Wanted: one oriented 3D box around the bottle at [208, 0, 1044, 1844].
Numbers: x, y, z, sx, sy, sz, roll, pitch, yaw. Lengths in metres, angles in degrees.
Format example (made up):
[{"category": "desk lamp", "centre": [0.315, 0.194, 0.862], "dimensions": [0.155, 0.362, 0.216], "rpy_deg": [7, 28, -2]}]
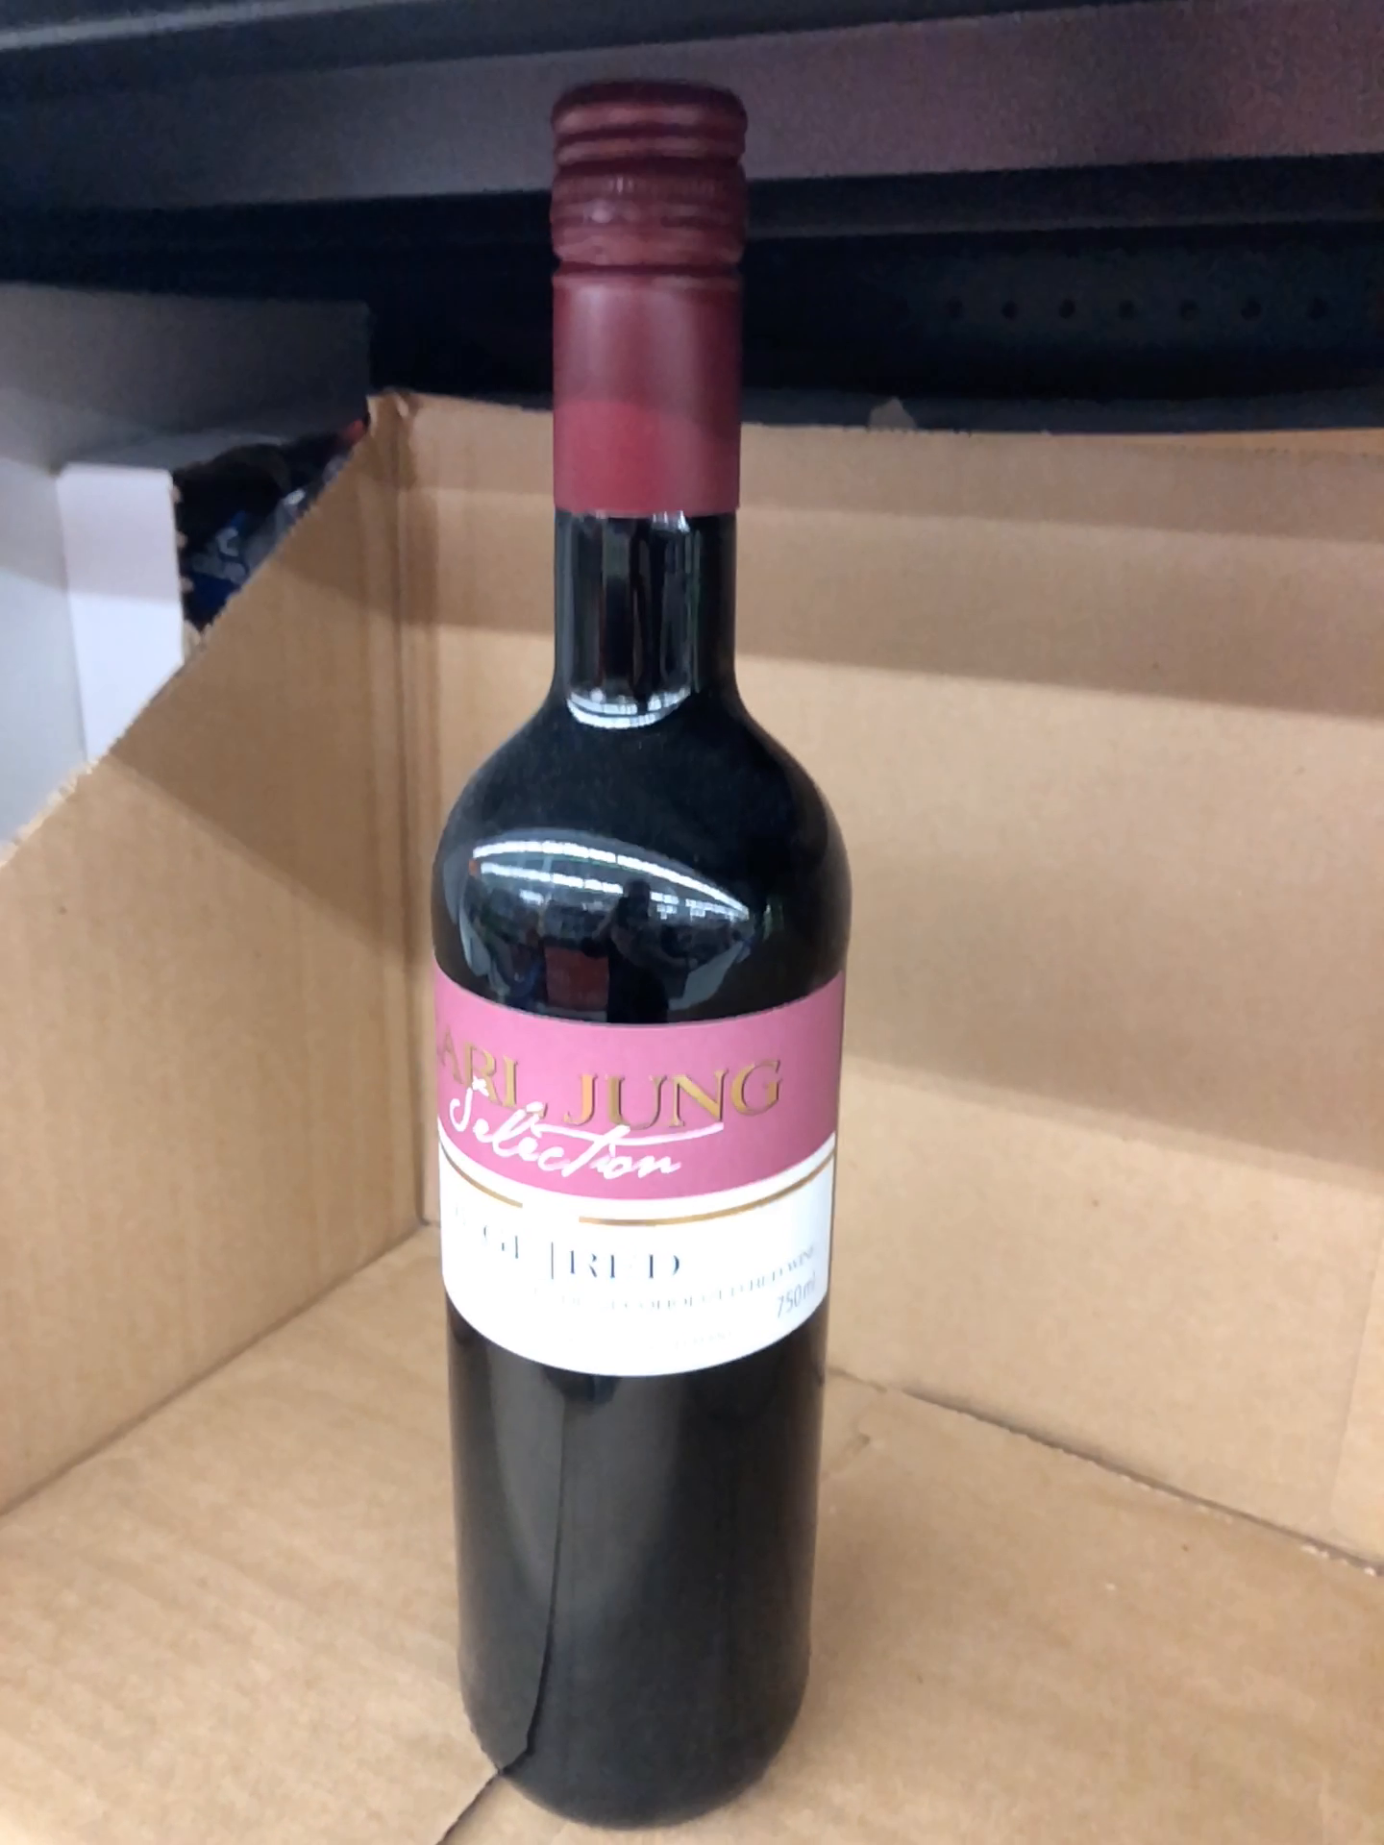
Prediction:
[{"category": "bottle", "centre": [-0.008, 0.020, 0.274], "dimensions": [0.090, 0.308, 0.080], "rpy_deg": [14, 24, 32]}]
